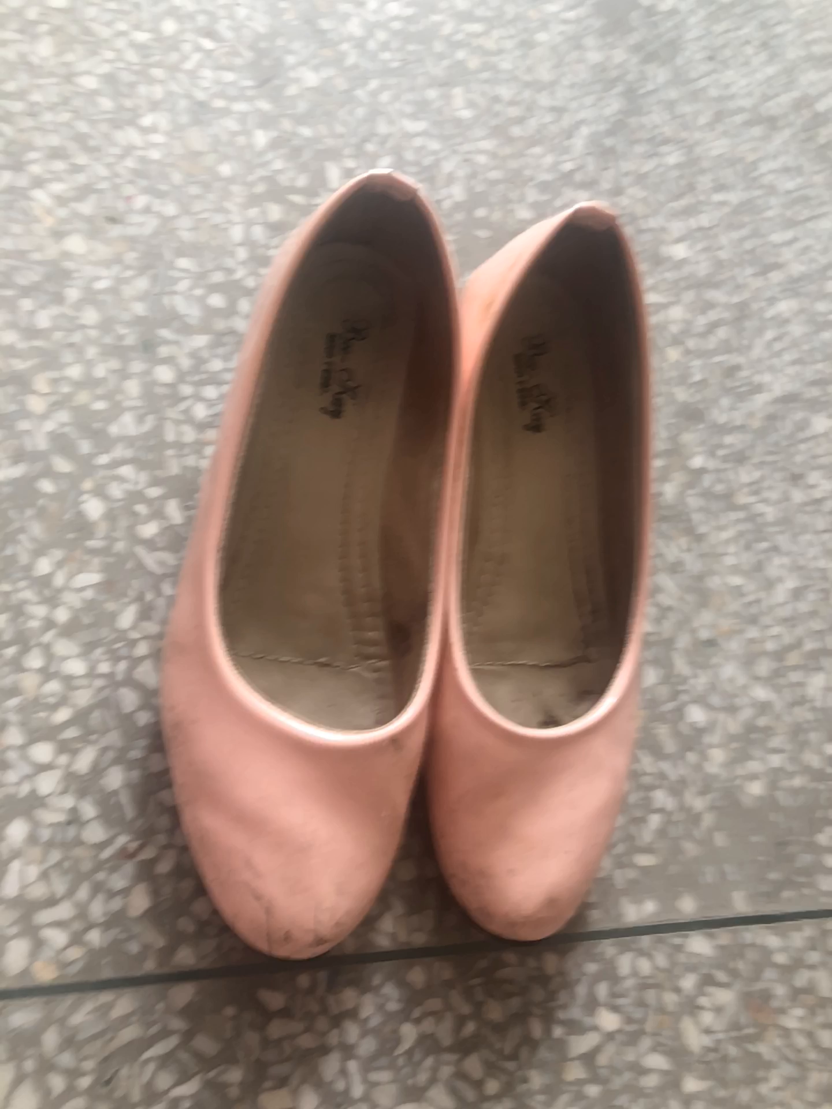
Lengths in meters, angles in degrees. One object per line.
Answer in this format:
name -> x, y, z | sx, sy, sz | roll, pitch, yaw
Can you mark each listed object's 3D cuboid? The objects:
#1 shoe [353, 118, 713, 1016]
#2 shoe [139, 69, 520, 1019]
shoe -> 0.037, 0.002, 0.310 | 0.090, 0.070, 0.260 | 5, 80, -17
shoe -> -0.031, -0.001, 0.298 | 0.090, 0.070, 0.260 | 5, 87, -17
